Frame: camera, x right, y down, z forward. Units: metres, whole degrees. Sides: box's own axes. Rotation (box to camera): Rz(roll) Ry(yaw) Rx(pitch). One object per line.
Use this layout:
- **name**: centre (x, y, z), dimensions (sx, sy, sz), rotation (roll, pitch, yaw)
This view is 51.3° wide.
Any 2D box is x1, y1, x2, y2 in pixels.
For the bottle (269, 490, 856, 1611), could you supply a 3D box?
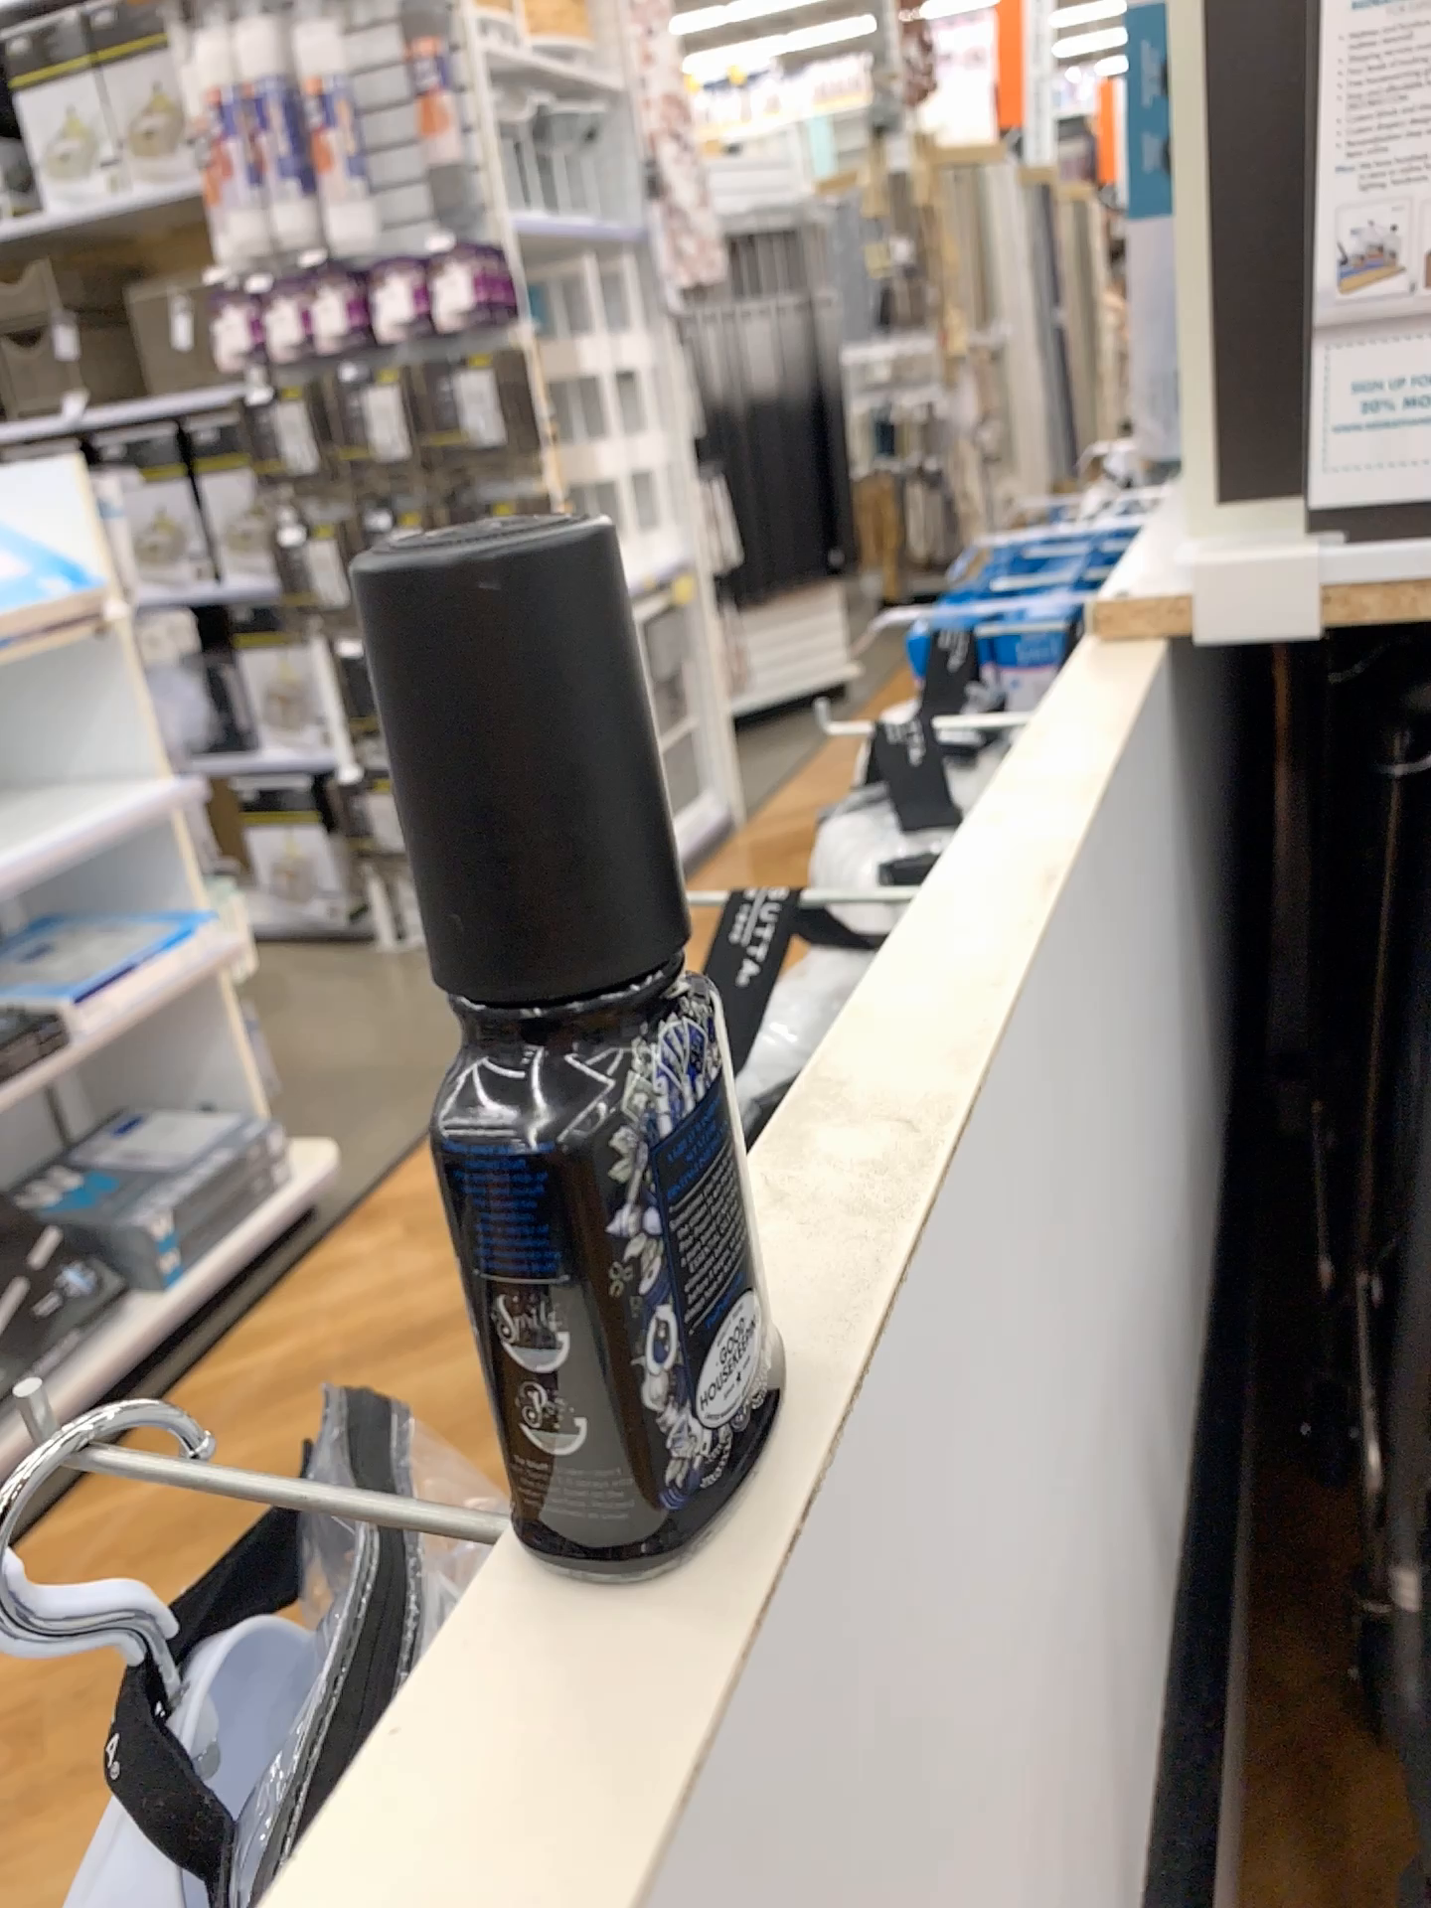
- **bottle**: centre (-0.012, 0.011, 0.183), dimensions (0.032, 0.123, 0.050), rotation (0, 22, 22)
